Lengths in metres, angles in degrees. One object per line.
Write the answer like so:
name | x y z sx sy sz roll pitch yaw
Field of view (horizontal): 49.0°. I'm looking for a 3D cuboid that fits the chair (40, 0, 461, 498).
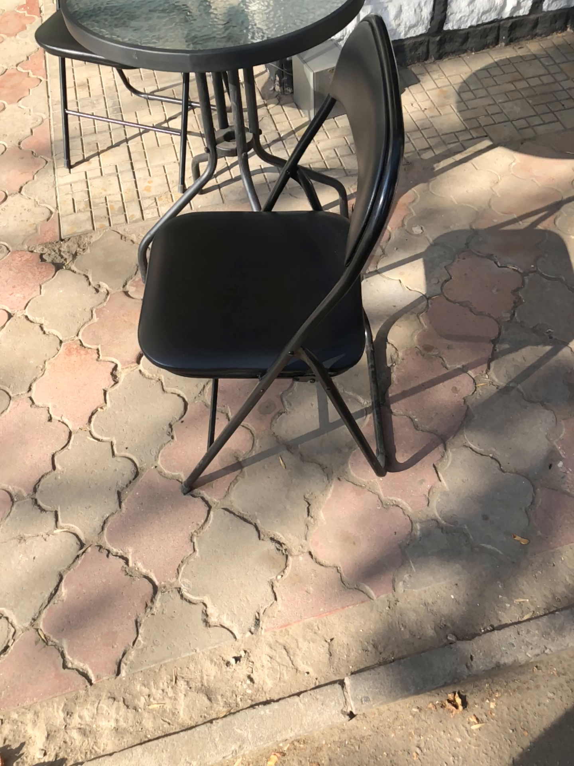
chair | -0.030 -0.189 1.130 0.470 0.698 0.502 -3 53 2
